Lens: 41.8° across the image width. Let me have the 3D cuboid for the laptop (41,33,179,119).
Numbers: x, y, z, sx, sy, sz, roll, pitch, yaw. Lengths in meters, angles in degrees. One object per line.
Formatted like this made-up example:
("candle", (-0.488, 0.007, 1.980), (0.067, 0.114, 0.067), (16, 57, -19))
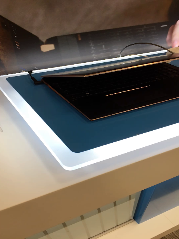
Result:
("laptop", (0.112, -0.135, 0.613), (0.379, 0.090, 0.226), (-16, 40, -23))
